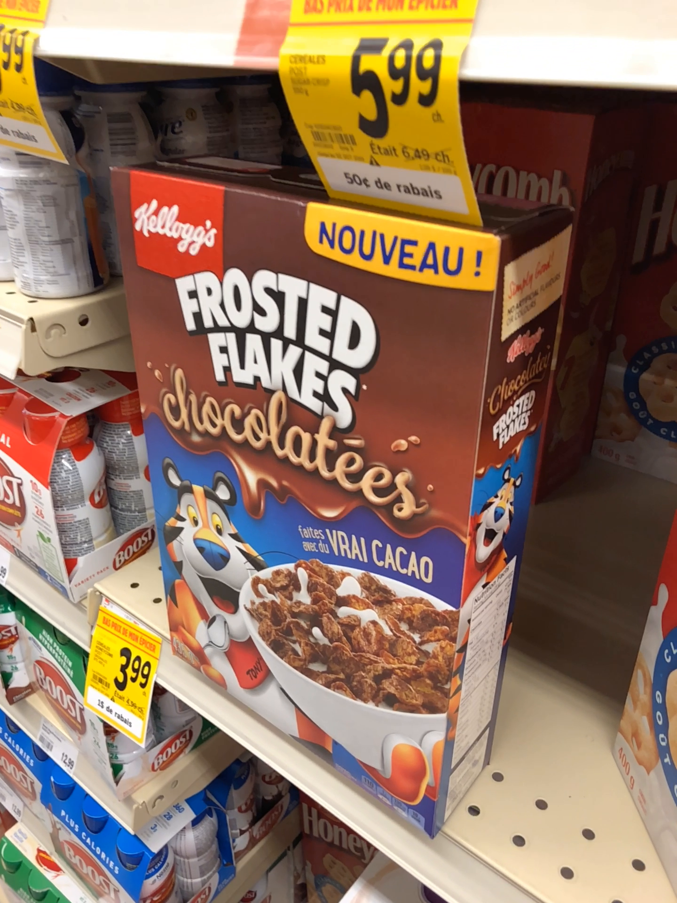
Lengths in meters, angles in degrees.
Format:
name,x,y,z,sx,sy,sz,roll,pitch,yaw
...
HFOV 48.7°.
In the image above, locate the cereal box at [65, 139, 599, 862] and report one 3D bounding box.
name,x,y,z,sx,sy,sz,roll,pitch,yaw
cereal box,-0.018,0.015,0.353,0.211,0.278,0.070,23,35,34
